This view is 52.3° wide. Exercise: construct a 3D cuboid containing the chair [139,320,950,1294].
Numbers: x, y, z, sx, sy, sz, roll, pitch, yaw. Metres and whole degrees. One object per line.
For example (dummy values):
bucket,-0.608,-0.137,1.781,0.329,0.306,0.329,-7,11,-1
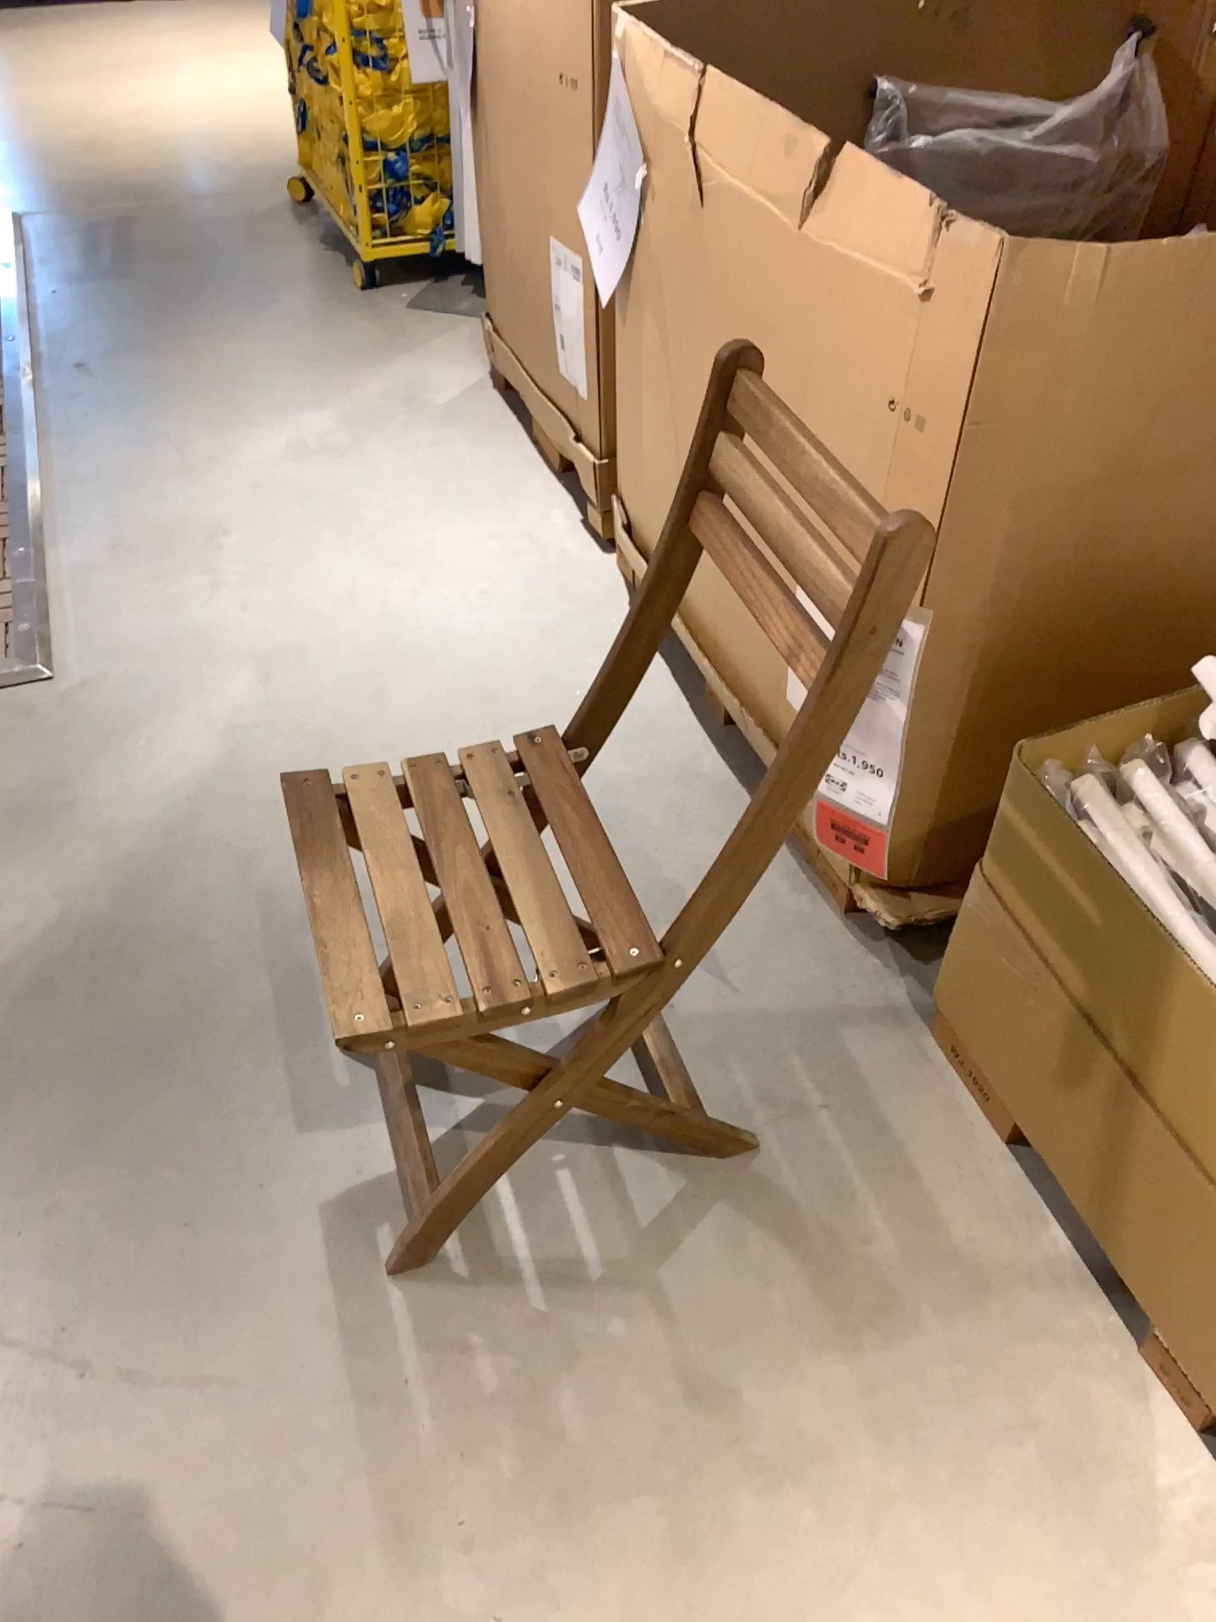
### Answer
chair,-0.079,0.019,1.183,0.510,0.767,0.402,-12,45,-15
